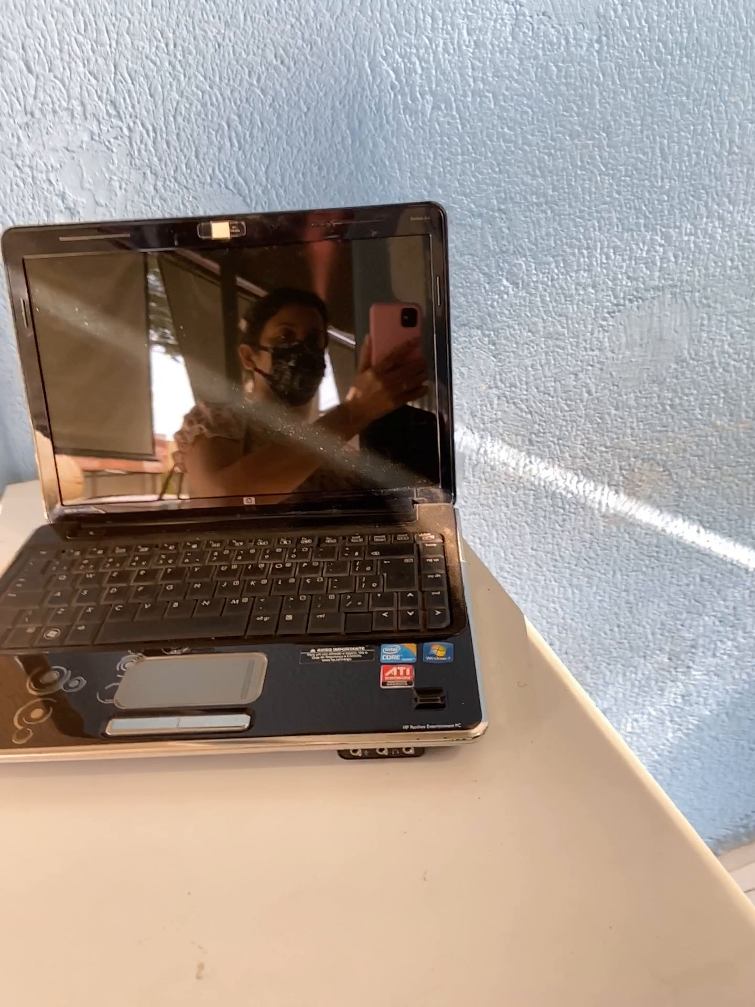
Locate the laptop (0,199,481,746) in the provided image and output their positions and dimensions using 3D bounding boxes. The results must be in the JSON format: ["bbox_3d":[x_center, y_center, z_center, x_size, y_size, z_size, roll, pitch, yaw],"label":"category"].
[{"bbox_3d":[-0.111,-0.046,0.492,0.321,0.210,0.303,-3,29,3],"label":"laptop"}]
